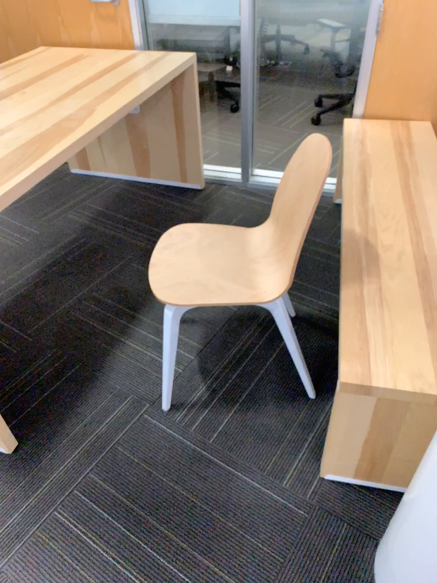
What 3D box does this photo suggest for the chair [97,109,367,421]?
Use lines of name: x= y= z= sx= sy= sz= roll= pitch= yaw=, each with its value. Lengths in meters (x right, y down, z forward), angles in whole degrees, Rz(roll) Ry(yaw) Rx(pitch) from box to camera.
chair: x=0.040 y=-0.062 z=1.478 sx=0.600 sy=0.835 sz=0.543 roll=-3 pitch=41 yaw=1
